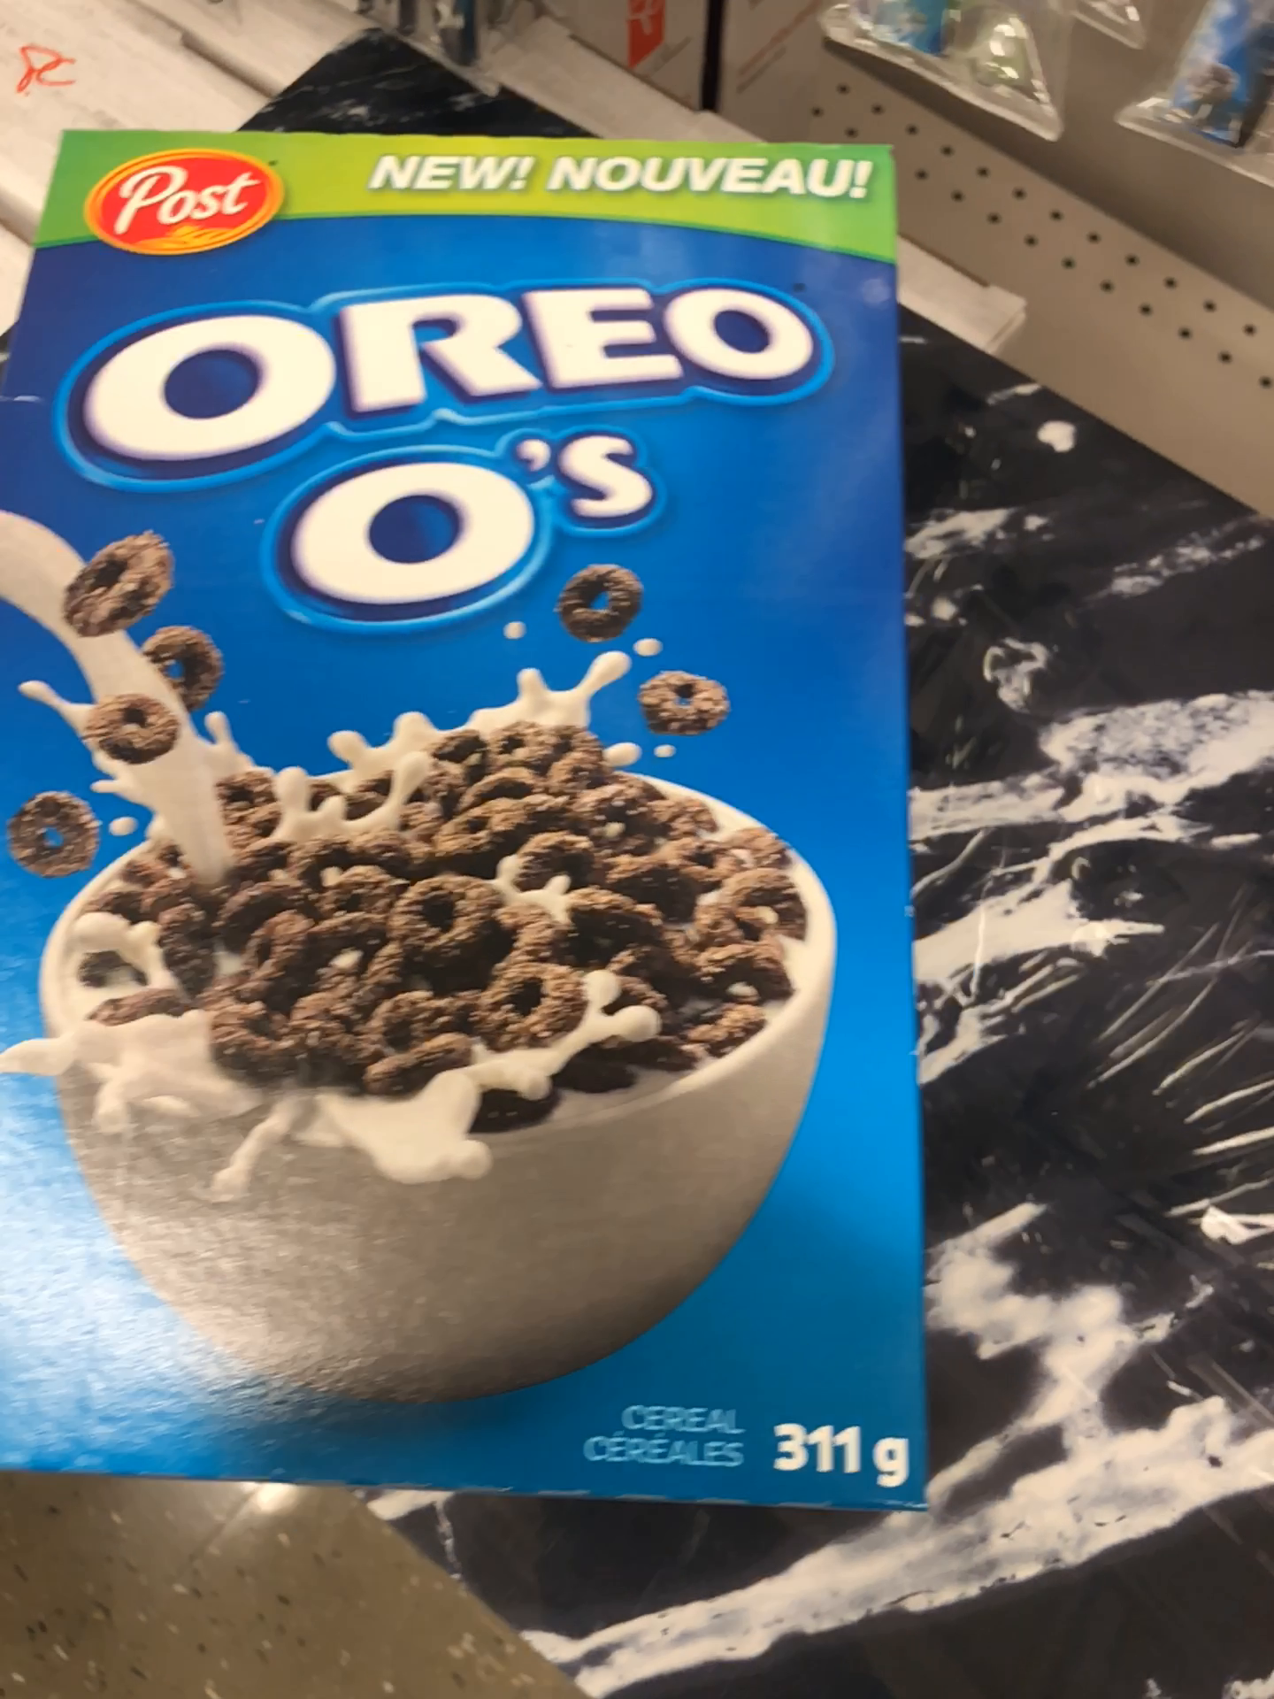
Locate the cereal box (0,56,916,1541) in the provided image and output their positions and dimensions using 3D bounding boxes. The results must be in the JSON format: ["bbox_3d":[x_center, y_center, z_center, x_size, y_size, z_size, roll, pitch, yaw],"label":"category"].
[{"bbox_3d":[-0.056,-0.027,0.304,0.210,0.070,0.300,3,68,1],"label":"cereal box"}]
